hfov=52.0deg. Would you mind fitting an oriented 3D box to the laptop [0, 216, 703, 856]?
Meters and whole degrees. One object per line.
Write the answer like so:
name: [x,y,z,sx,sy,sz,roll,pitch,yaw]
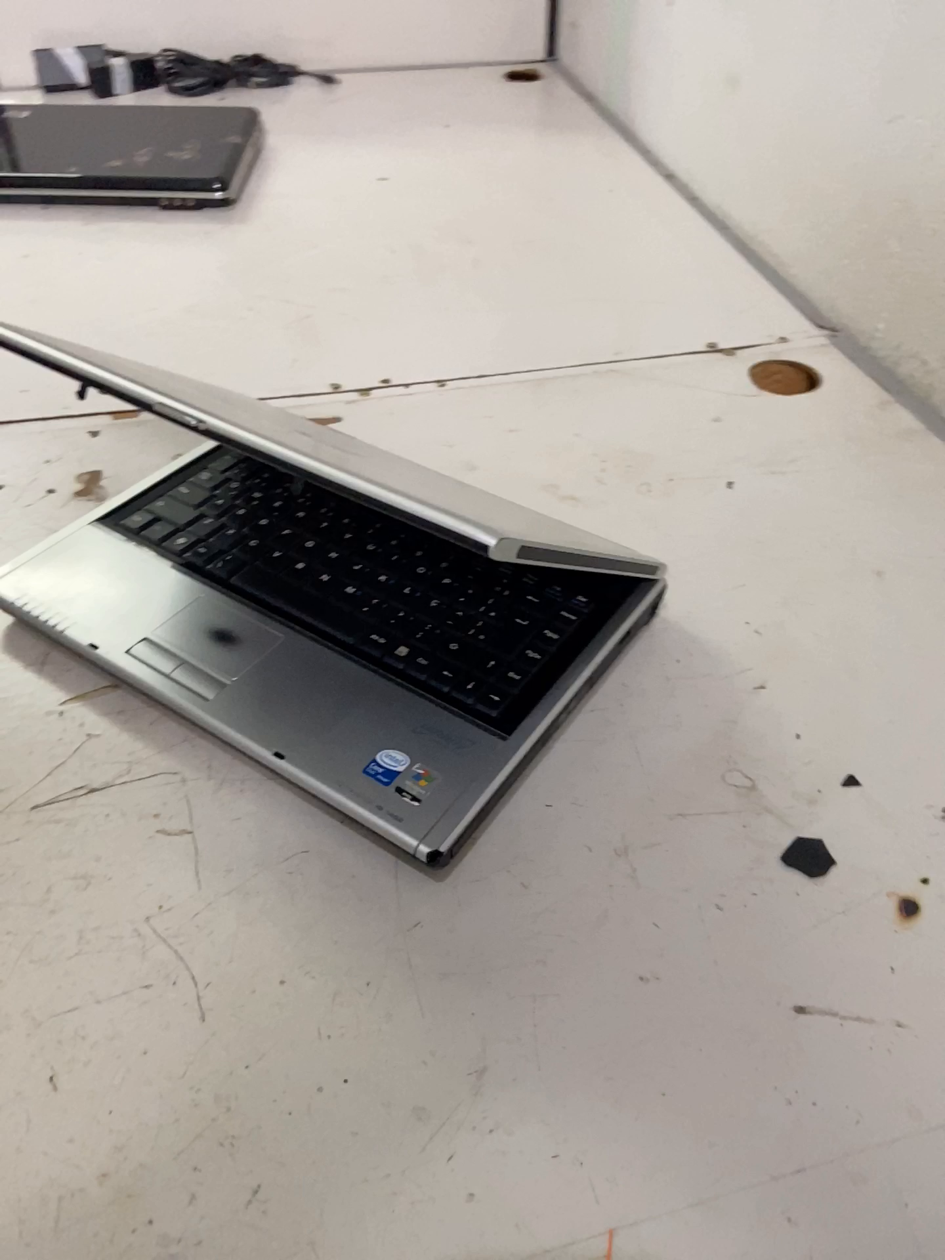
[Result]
laptop: [-0.085,-0.079,0.506,0.319,0.144,0.227,25,48,25]
